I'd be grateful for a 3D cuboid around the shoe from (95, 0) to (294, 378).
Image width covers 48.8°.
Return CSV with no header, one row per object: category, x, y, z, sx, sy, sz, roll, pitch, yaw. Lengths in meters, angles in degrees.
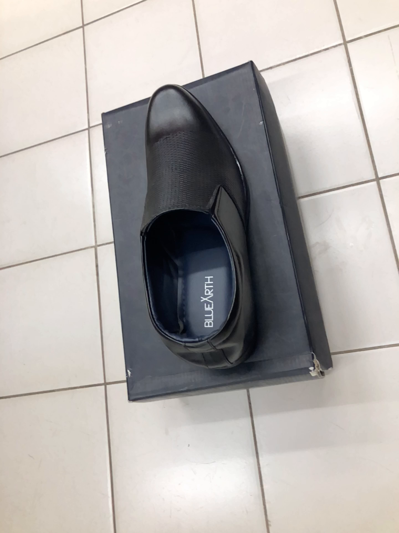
shoe,-0.005,-0.075,0.432,0.100,0.130,0.341,-15,74,16
